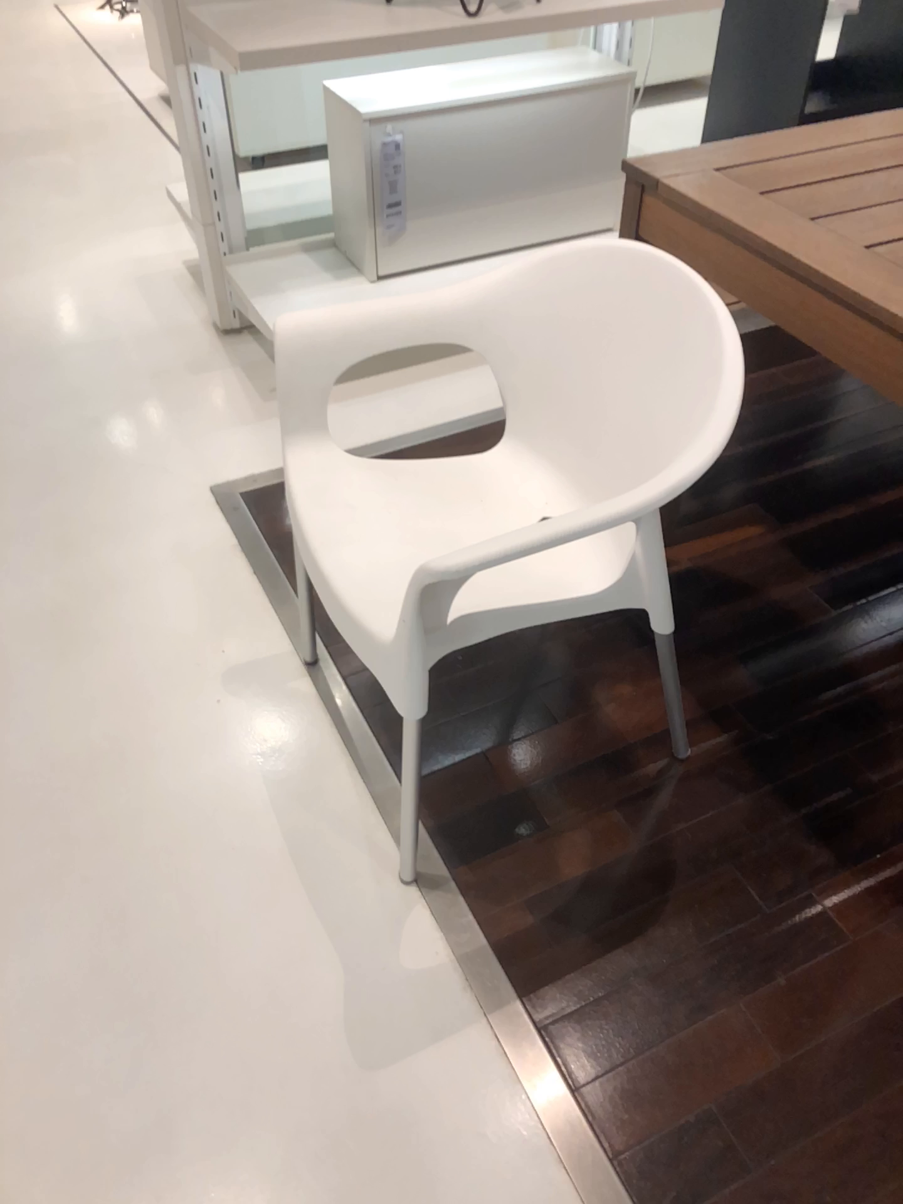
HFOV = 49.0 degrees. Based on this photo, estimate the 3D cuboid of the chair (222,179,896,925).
[{"bbox_3d":[0.089,-0.087,1.373,0.561,0.704,0.584,-17,44,-18],"label":"chair"}]
